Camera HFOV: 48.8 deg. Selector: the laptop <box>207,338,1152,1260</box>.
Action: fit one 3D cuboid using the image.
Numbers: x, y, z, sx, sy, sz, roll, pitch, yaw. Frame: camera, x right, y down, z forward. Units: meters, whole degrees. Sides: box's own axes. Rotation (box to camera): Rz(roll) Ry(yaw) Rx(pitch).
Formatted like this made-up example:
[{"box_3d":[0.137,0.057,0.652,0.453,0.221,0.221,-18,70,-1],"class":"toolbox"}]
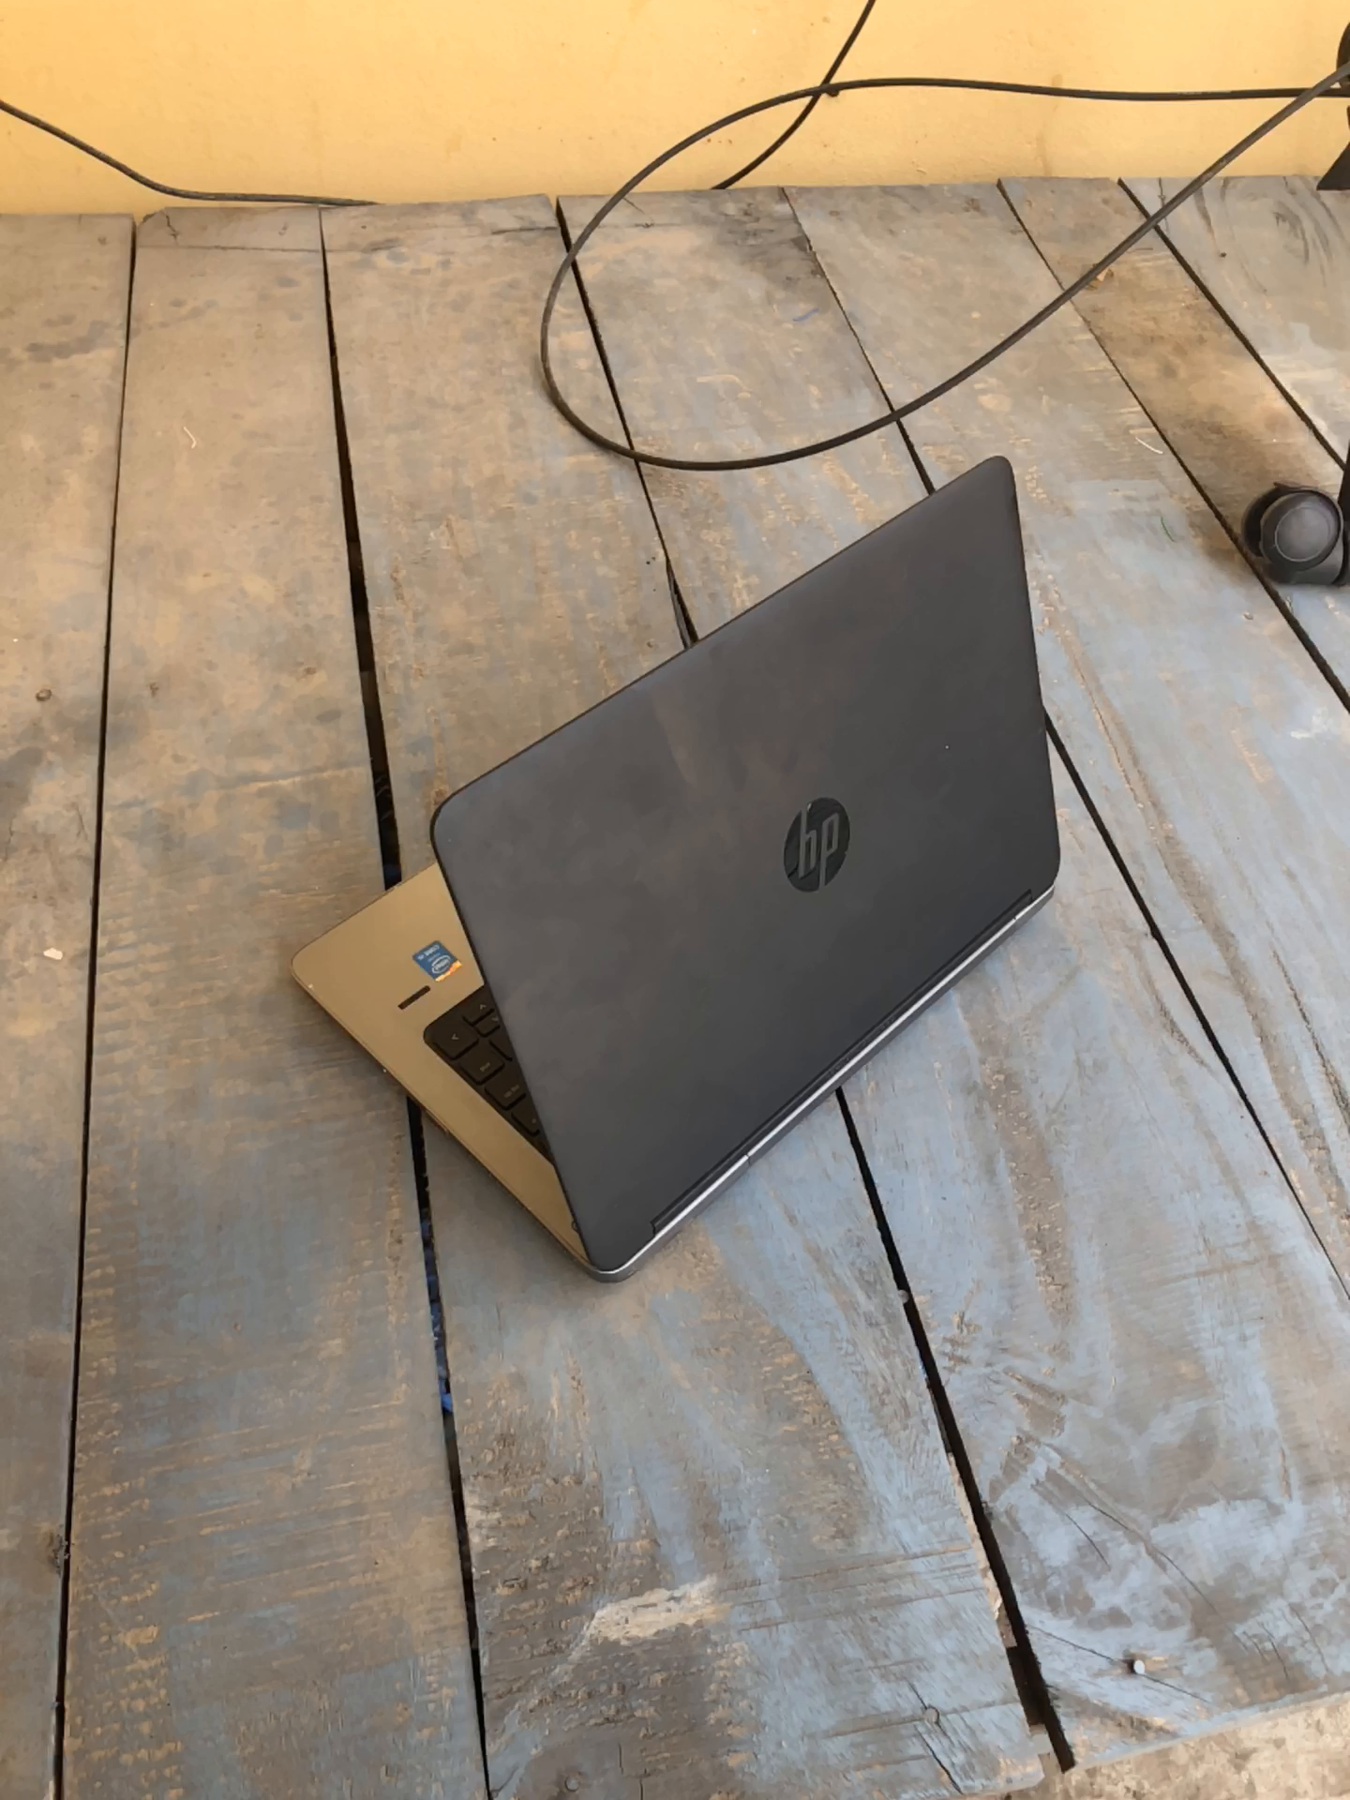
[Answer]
[{"box_3d":[0.008,-0.059,0.655,0.210,0.196,0.317,38,58,25],"class":"laptop"}]
